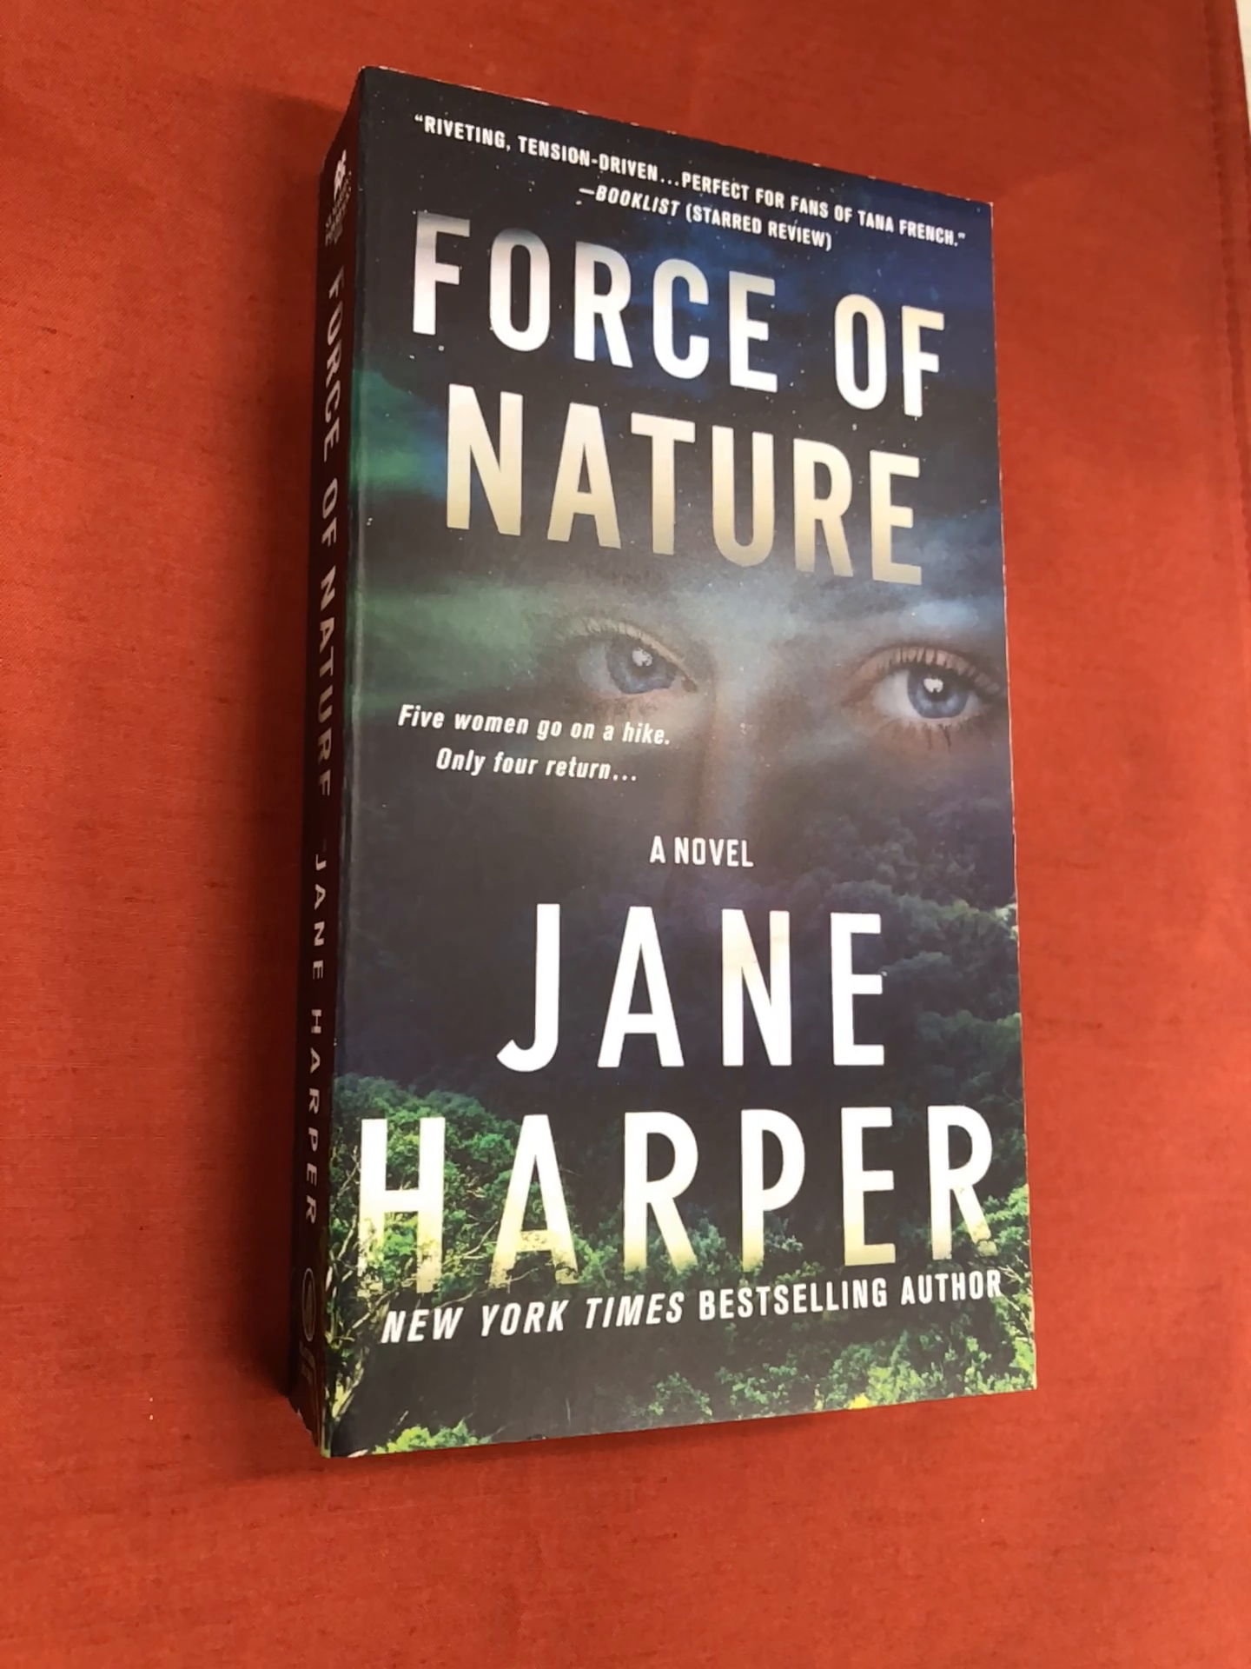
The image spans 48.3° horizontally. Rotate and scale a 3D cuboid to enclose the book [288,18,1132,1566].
[{"bbox_3d":[0.012,-0.005,0.204,0.110,0.050,0.180,1,88,-20],"label":"book"}]
